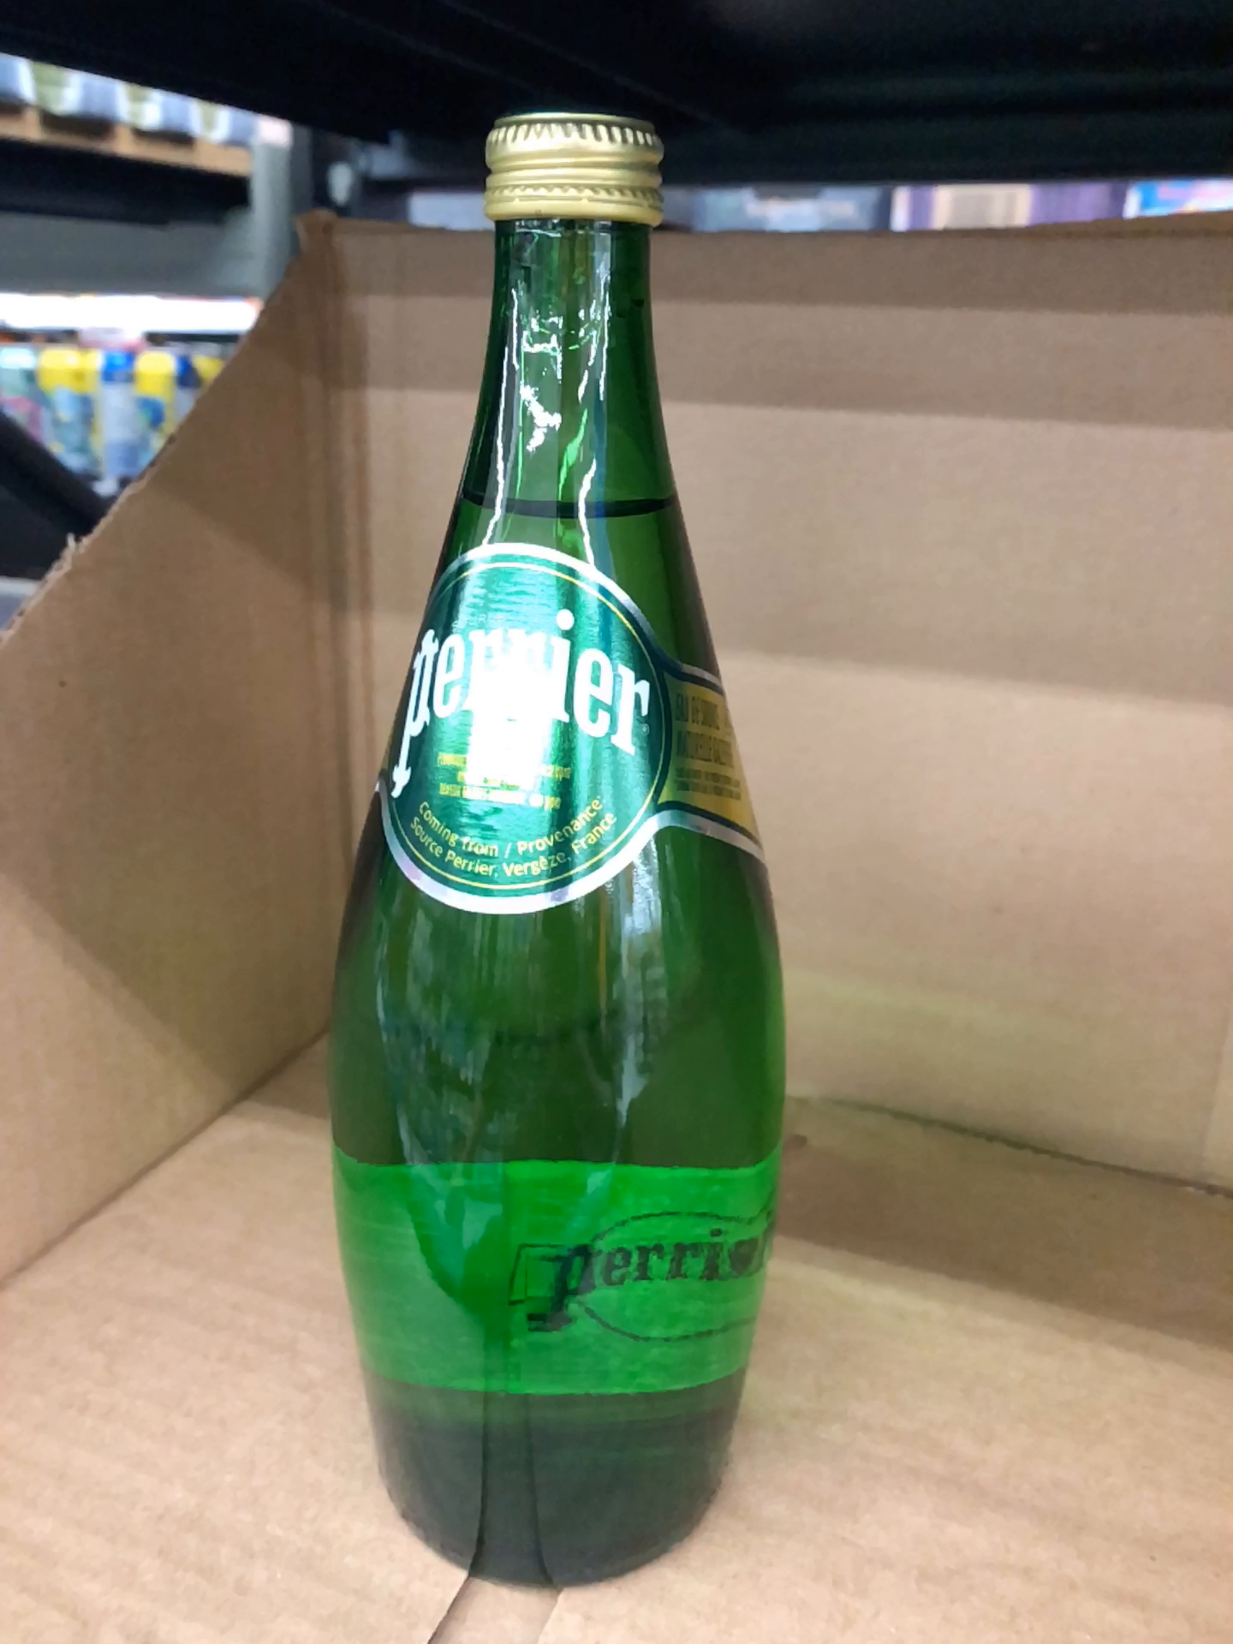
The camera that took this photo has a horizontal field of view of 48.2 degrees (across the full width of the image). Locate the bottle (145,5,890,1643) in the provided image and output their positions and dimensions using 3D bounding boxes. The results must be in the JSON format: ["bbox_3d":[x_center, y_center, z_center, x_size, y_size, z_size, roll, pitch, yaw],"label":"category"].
[{"bbox_3d":[-0.013,0.011,0.258,0.090,0.268,0.080,9,20,21],"label":"bottle"}]

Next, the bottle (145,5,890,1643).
[{"bbox_3d":[-0.013,0.011,0.258,0.090,0.268,0.080,9,20,21],"label":"bottle"}]
